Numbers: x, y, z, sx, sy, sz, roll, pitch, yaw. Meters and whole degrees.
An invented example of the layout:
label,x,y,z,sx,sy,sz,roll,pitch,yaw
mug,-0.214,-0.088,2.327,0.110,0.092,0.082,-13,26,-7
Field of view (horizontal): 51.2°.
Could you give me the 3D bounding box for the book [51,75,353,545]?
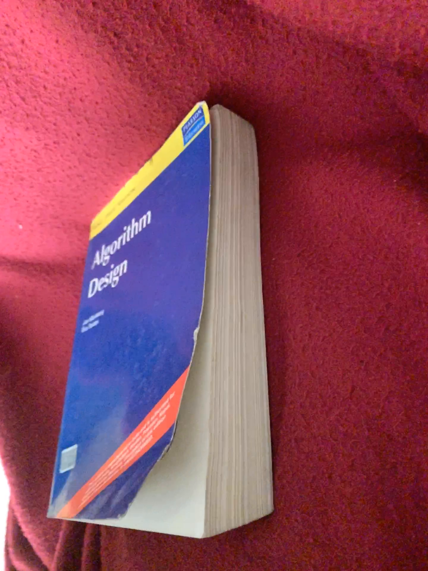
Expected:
label,x,y,z,sx,sy,sz,roll,pitch,yaw
book,-0.024,0.023,0.302,0.191,0.060,0.251,-27,53,43
